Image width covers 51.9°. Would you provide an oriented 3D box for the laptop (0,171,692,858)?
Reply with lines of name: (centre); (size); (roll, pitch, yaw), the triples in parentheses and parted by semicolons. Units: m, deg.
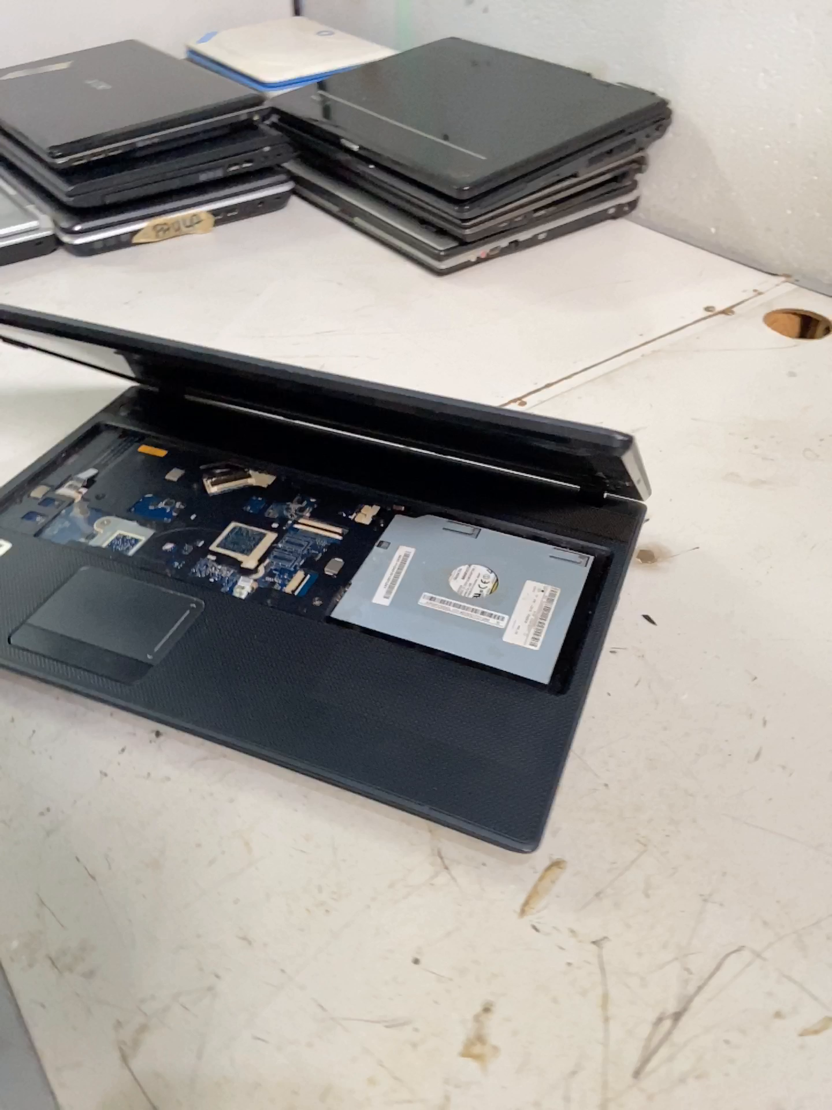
laptop: (-0.082, -0.057, 0.433); (0.370, 0.156, 0.240); (15, 43, 18)
